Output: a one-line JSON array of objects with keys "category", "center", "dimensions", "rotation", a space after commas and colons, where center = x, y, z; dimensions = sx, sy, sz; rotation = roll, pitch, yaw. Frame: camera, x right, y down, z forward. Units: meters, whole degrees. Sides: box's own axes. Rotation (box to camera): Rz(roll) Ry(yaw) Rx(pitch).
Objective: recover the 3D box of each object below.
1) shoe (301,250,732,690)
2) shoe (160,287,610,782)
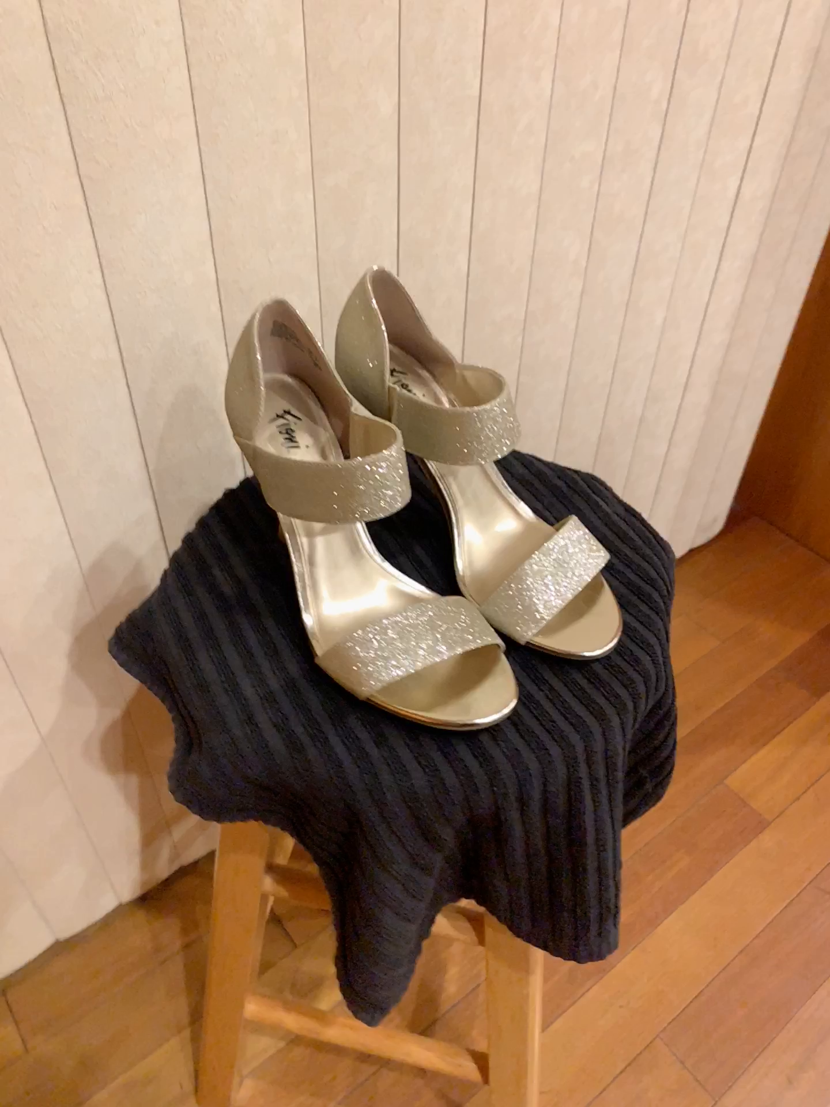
[{"category": "shoe", "center": [0.039, -0.060, 0.491], "dimensions": [0.090, 0.129, 0.237], "rotation": [-26, 50, -27]}, {"category": "shoe", "center": [-0.028, -0.023, 0.451], "dimensions": [0.095, 0.129, 0.236], "rotation": [-26, 50, -27]}]
